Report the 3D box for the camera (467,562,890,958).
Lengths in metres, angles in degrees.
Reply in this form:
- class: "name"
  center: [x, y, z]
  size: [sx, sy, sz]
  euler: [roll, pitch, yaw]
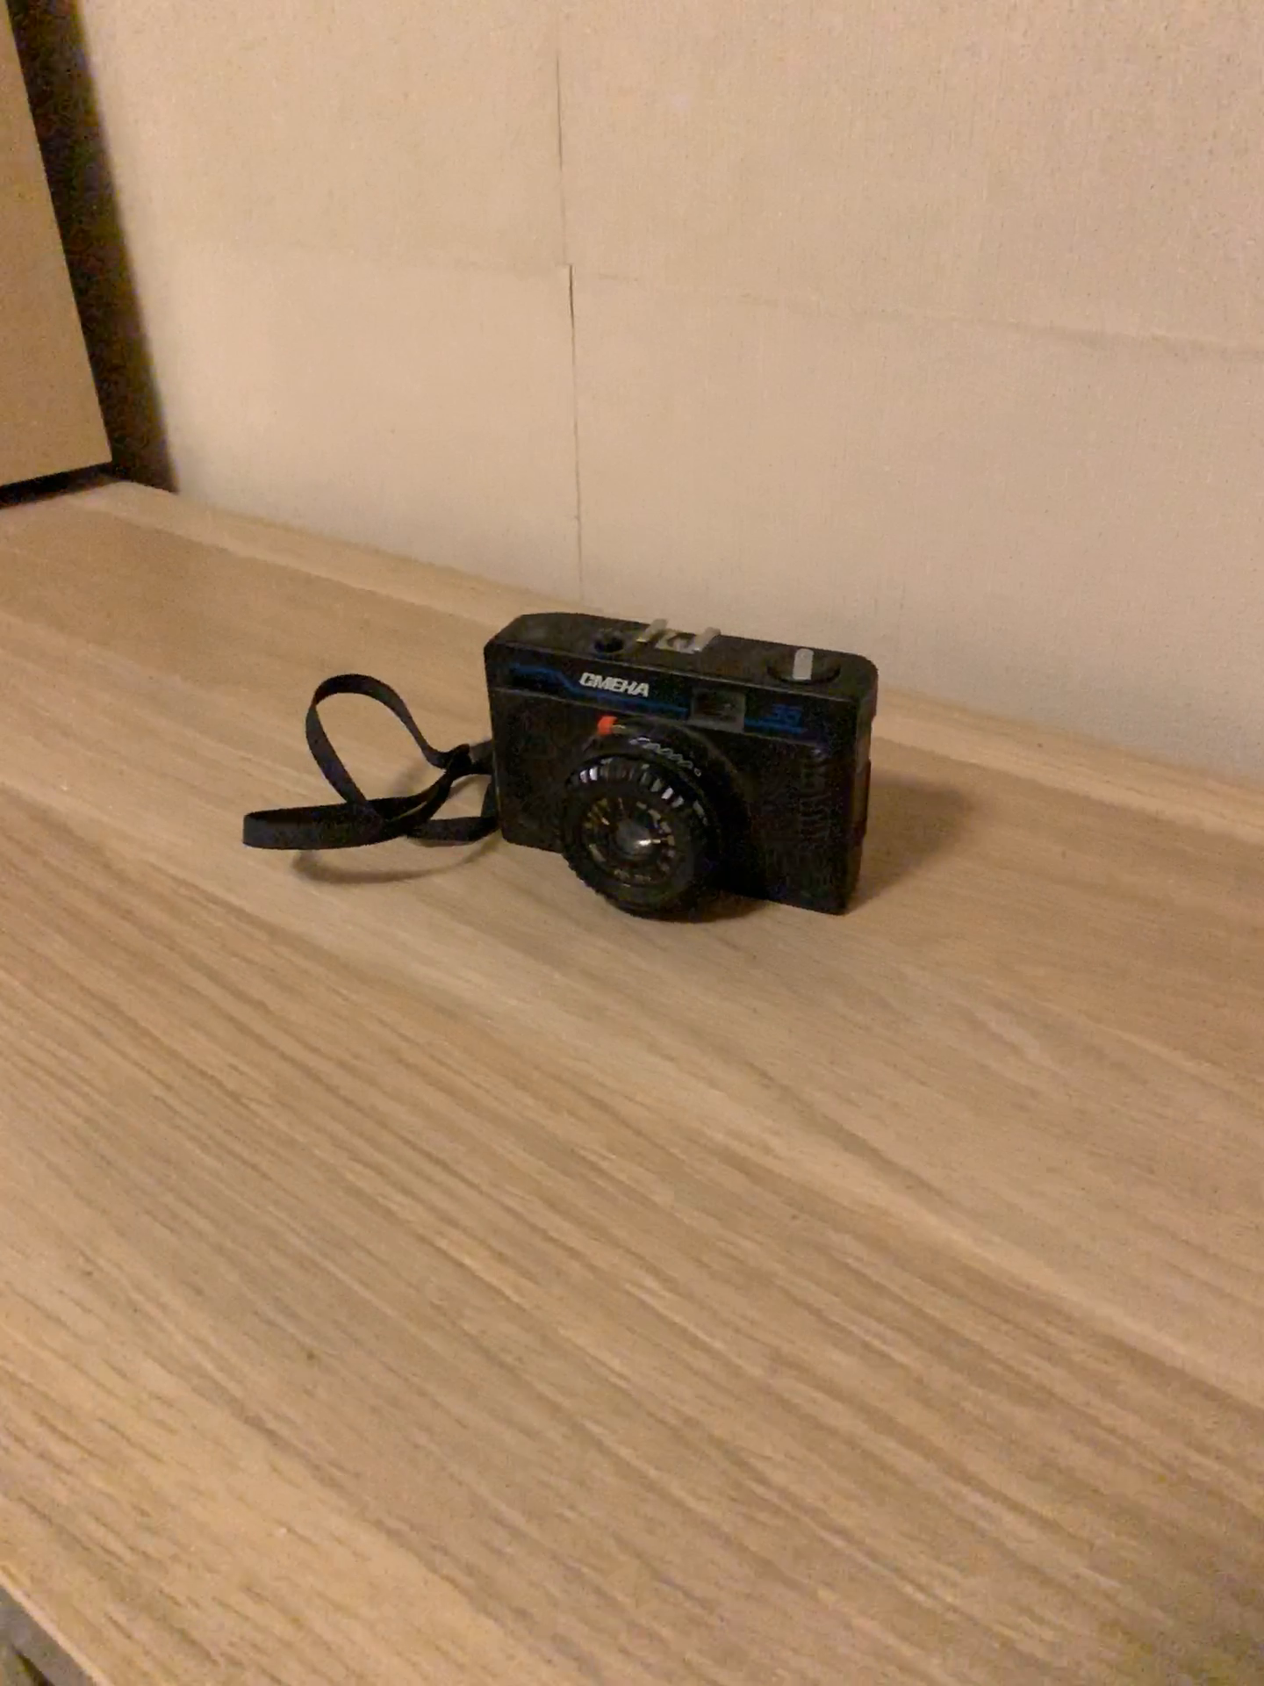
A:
- class: "camera"
  center: [0.014, -0.026, 0.385]
  size: [0.110, 0.089, 0.040]
  euler: [13, 38, 21]
